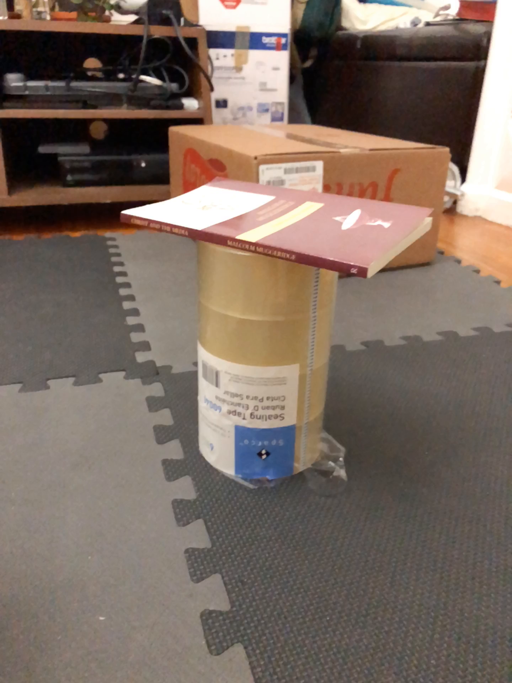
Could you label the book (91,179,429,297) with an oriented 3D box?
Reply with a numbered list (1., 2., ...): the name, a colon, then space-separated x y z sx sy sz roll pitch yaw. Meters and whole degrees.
1. book: 0.005 -0.088 0.426 0.210 0.020 0.141 17 30 26
